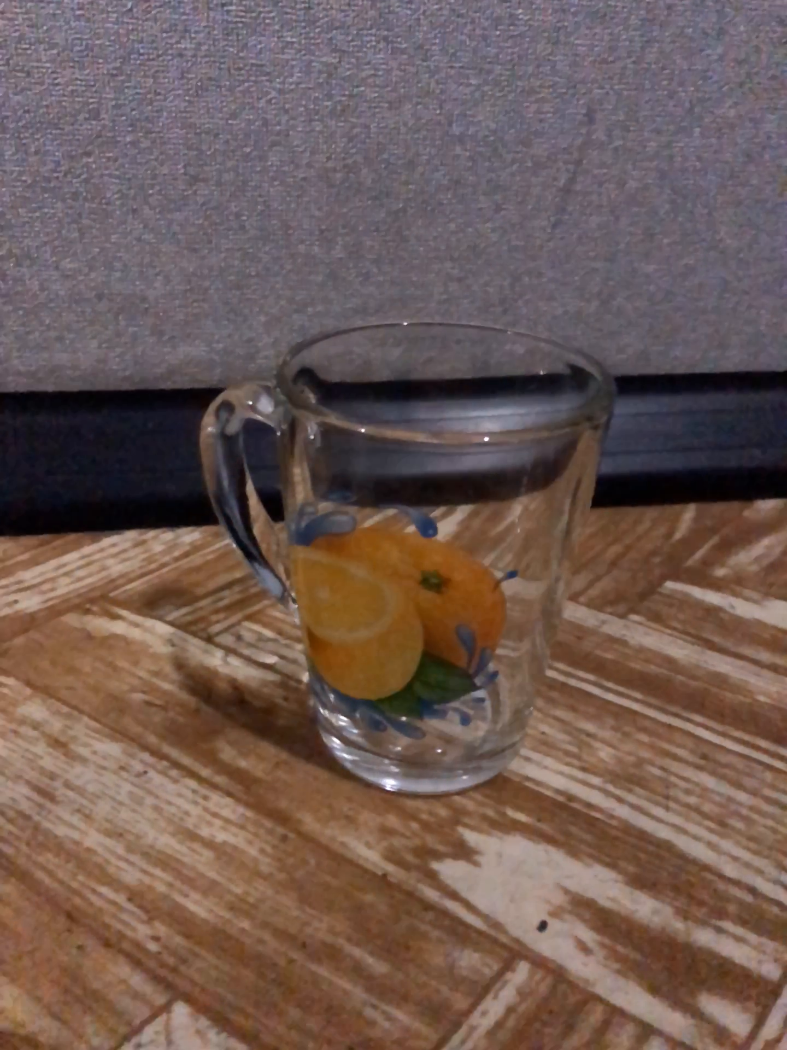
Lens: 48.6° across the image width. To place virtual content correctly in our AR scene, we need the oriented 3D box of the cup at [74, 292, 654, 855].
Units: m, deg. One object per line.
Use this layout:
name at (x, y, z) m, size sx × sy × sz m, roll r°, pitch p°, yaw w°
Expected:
cup at (-0.005, 0.003, 0.238) m, size 0.116 × 0.098 × 0.085 m, roll 15°, pitch 32°, yaw 23°
